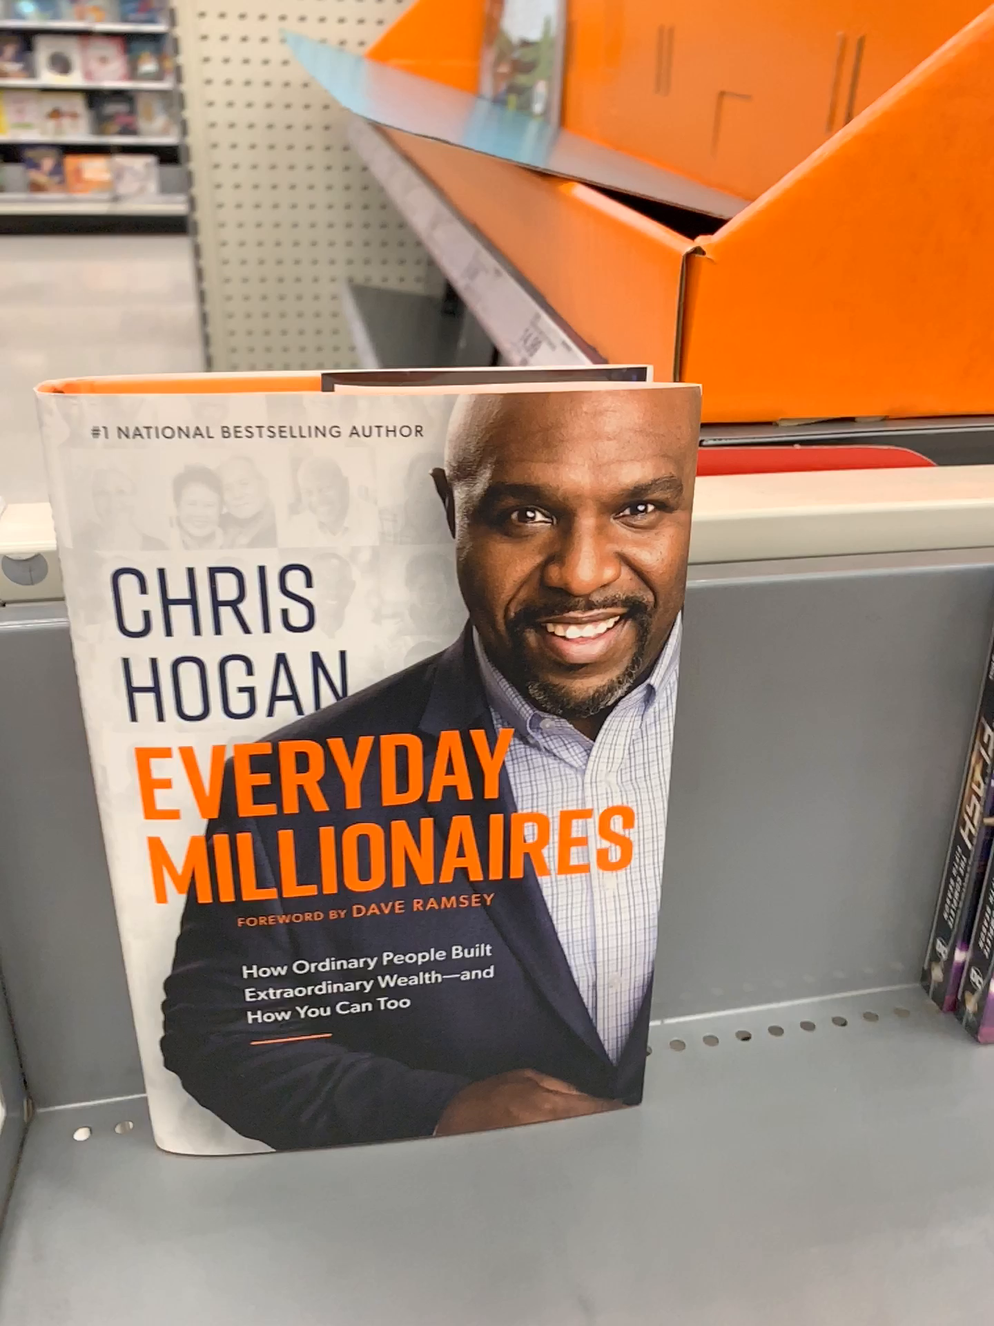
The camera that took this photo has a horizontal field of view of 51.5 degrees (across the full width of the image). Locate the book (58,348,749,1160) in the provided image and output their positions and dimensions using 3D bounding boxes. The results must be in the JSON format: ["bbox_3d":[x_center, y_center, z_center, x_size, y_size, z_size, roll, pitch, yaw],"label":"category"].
[{"bbox_3d":[-0.023,0.035,0.303,0.160,0.241,0.037,-2,23,-7],"label":"book"}]
